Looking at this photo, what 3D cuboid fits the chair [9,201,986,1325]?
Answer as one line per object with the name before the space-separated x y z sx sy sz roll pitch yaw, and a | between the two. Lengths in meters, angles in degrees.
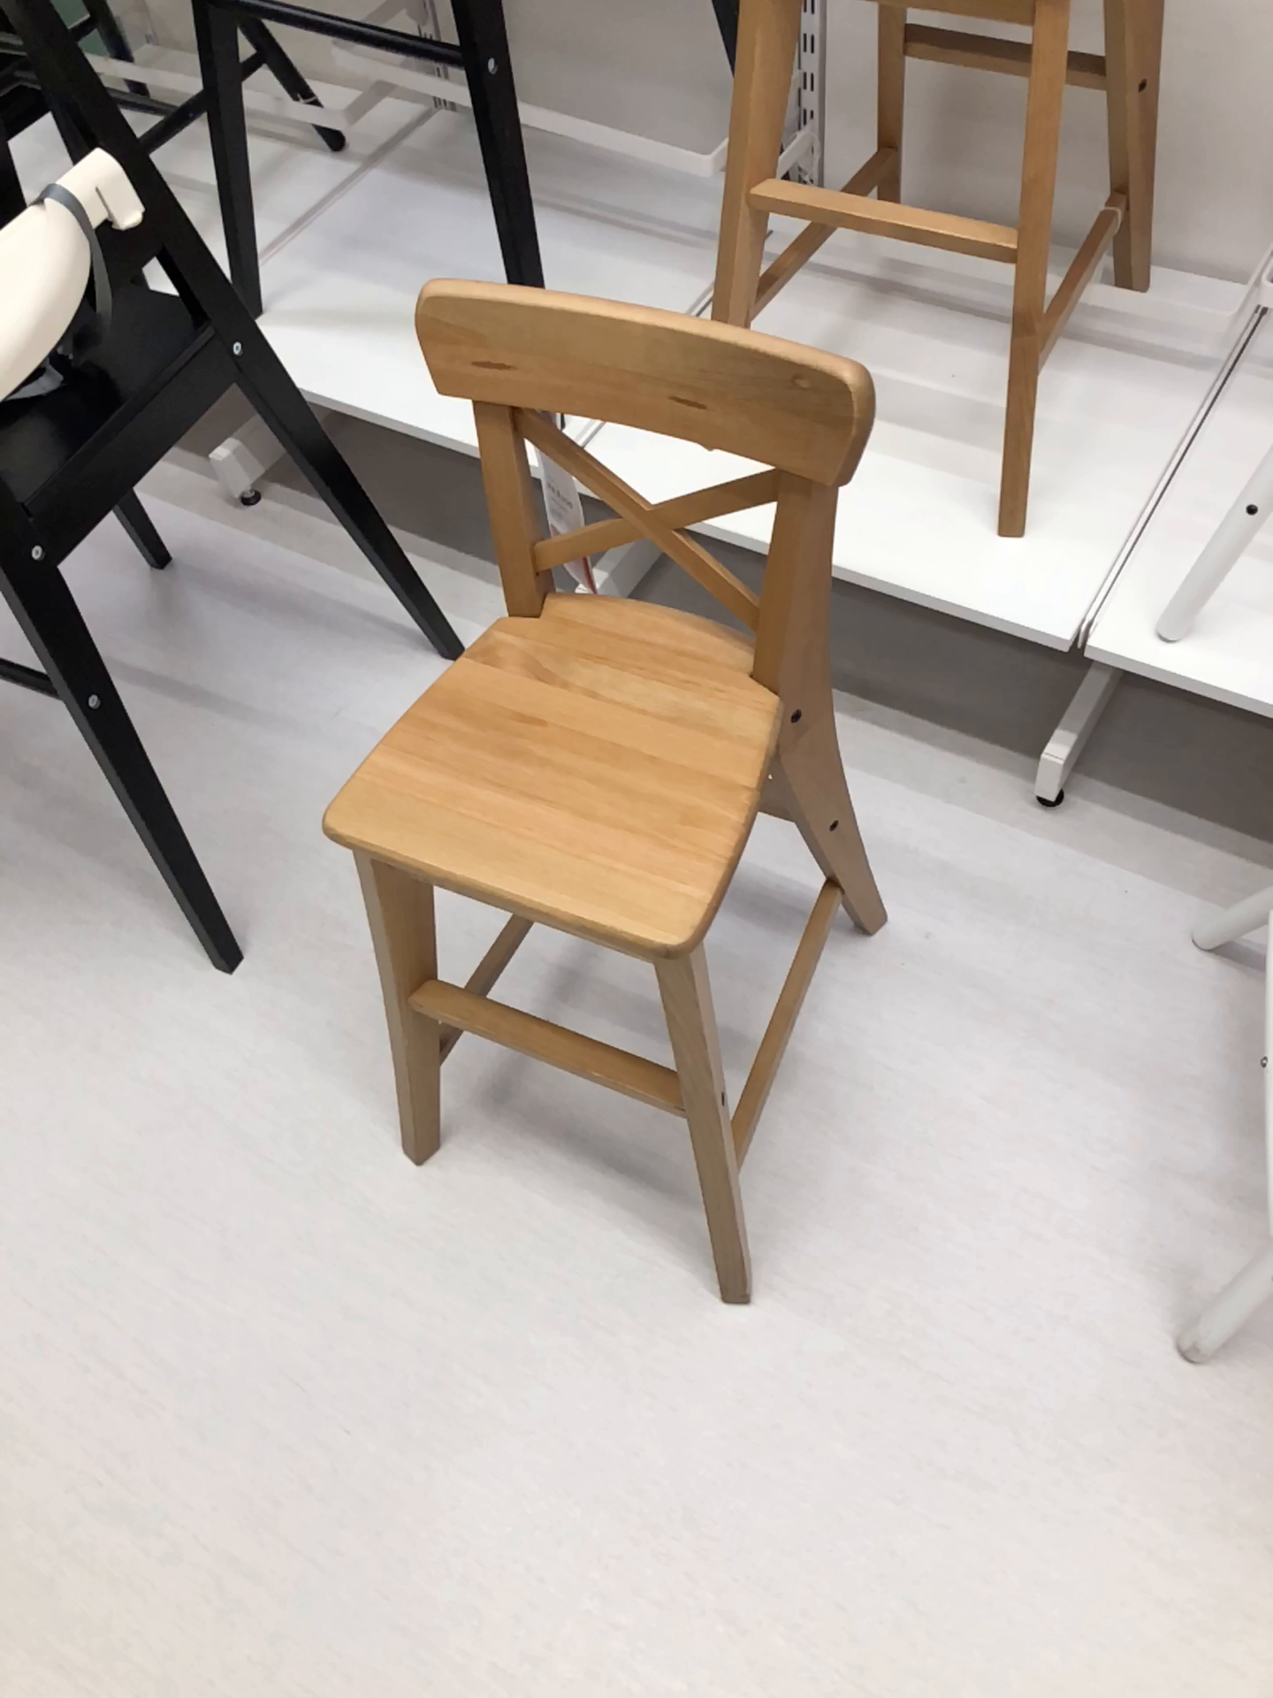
chair | -0.029 -0.023 1.057 0.391 0.676 0.432 20 60 20
